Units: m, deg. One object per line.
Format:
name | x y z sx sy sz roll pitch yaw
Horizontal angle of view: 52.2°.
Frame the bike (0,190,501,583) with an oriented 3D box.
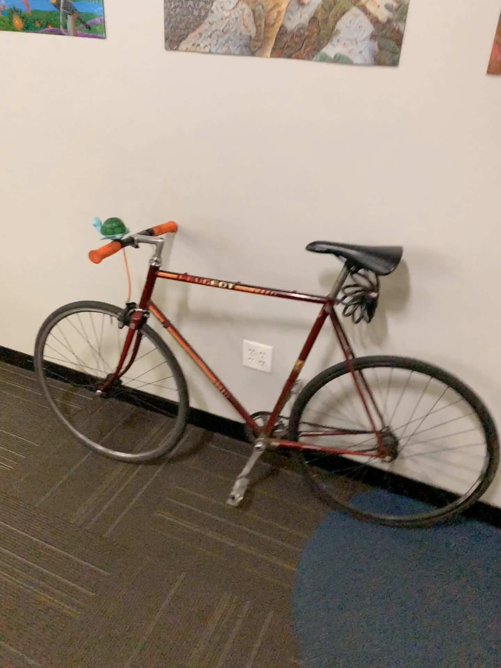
bike | -0.005 0.120 1.757 1.627 0.909 0.451 11 31 13
